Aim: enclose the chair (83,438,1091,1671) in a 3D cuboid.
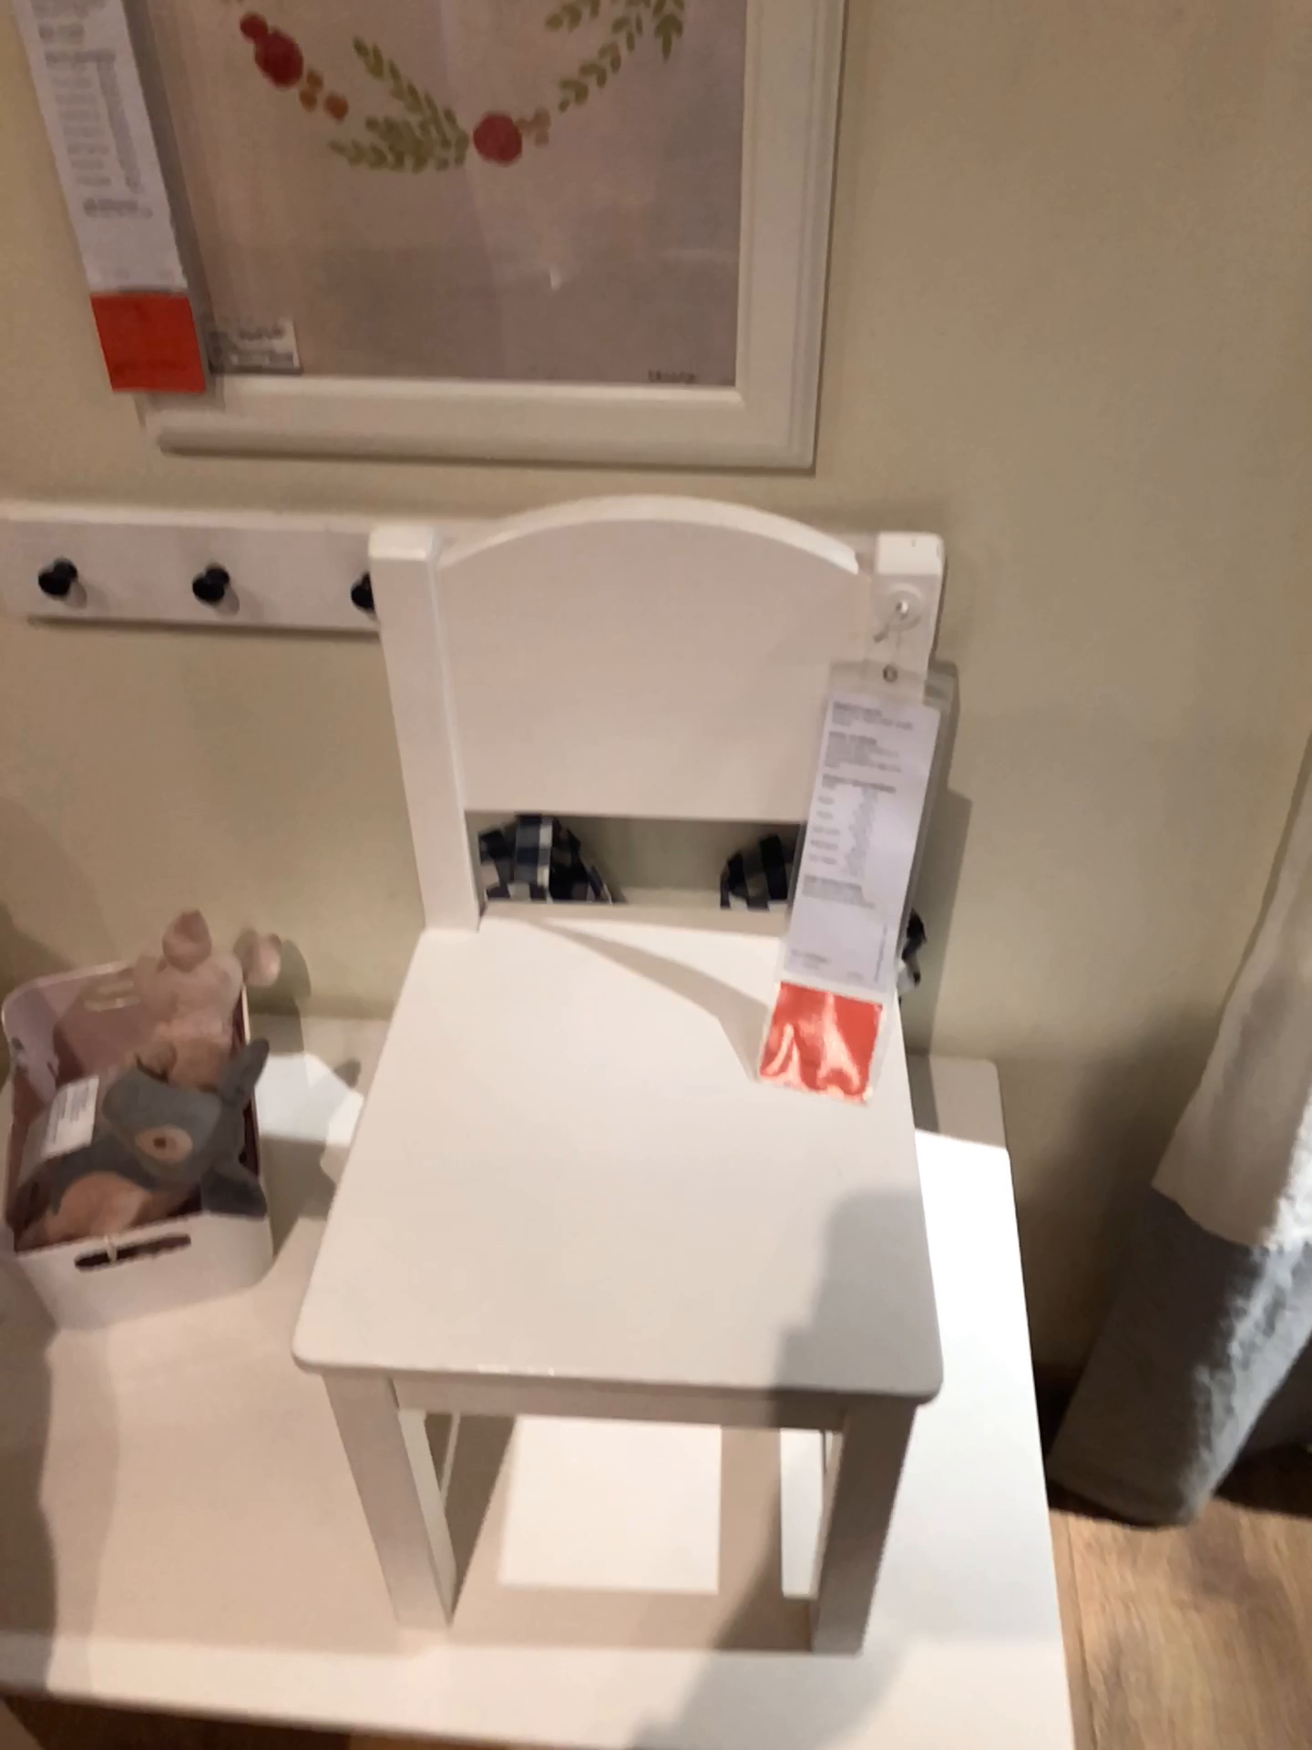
[{"bbox_3d":[-0.010,0.115,0.730,0.300,0.557,0.322,2,41,3],"label":"chair"}]
